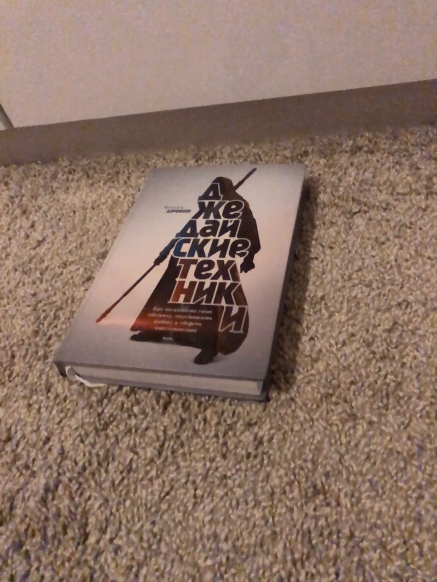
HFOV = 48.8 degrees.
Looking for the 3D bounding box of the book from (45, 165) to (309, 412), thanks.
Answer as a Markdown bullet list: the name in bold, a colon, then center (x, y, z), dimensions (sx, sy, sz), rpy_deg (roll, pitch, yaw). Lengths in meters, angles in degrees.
- **book**: center (-0.018, -0.020, 0.379), dimensions (0.150, 0.026, 0.222), rpy_deg (2, 50, 17)
